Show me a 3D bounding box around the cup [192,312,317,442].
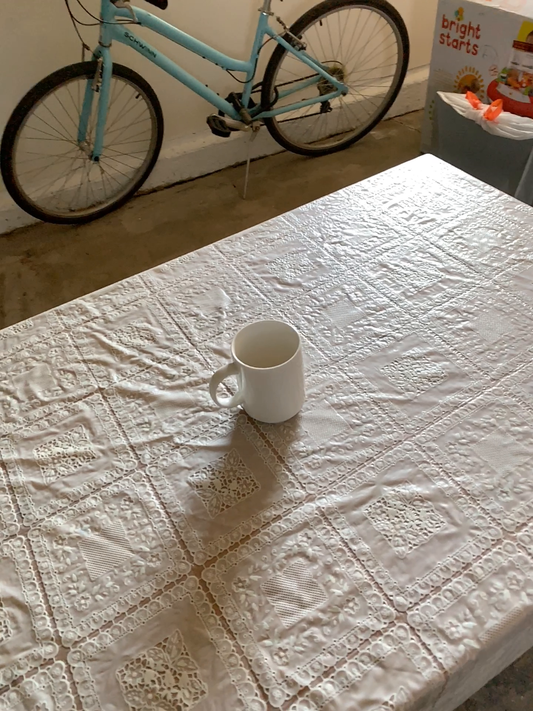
[{"bbox_3d":[-0.013,0.025,0.654,0.120,0.090,0.090,-16,49,-7],"label":"cup"}]
